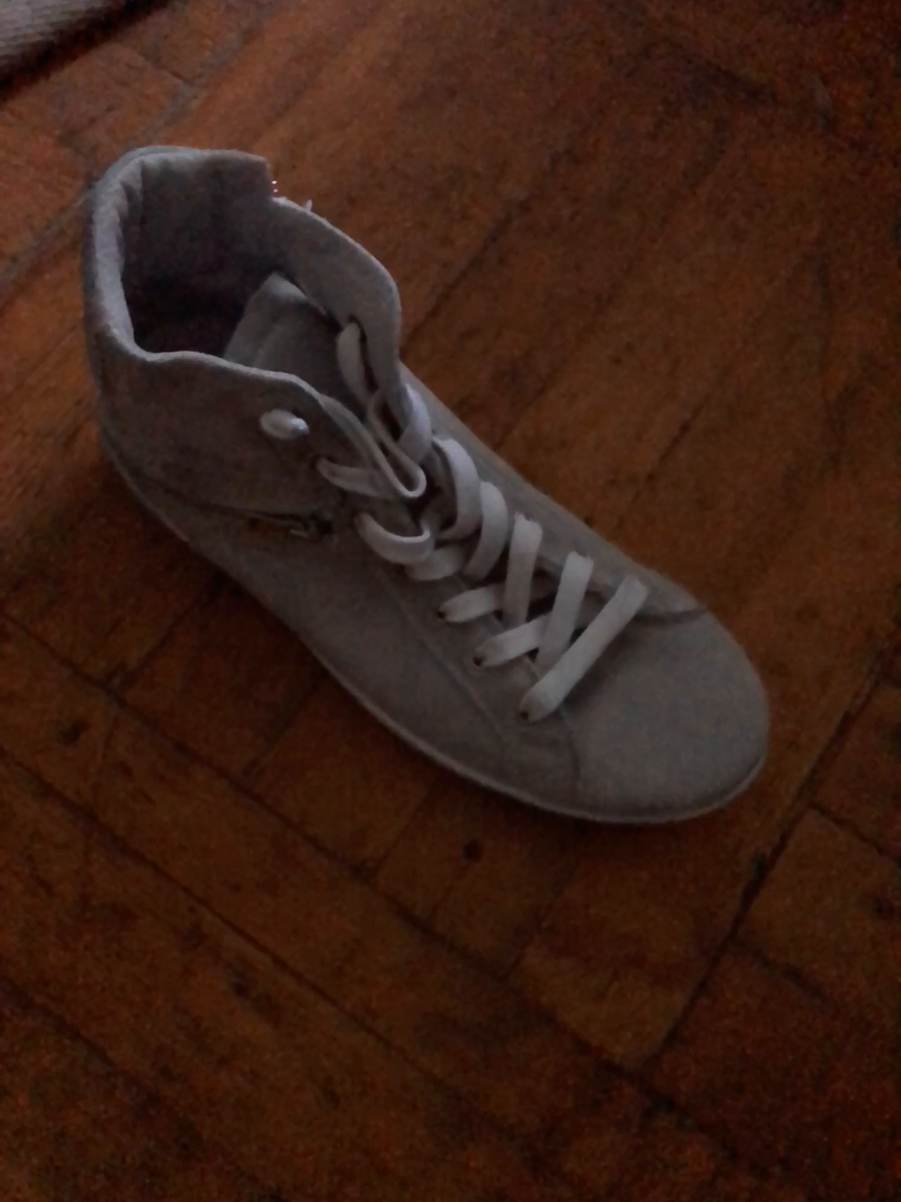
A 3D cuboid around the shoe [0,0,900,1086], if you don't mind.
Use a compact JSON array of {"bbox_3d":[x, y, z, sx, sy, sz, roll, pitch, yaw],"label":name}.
[{"bbox_3d":[-0.003,-0.018,0.355,0.310,0.220,0.130,38,82,10],"label":"shoe"}]
